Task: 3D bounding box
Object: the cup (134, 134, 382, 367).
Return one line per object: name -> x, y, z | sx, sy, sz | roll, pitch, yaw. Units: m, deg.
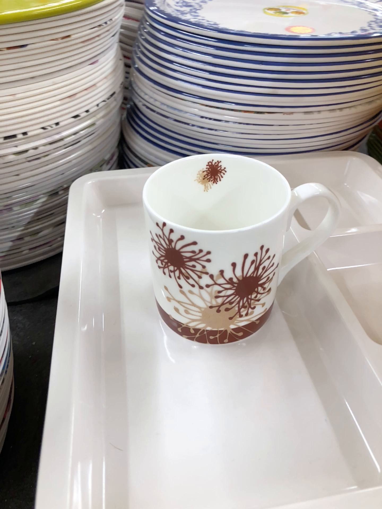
cup -> 0.036, -0.006, 0.251 | 0.120, 0.089, 0.080 | -9, 41, -11
